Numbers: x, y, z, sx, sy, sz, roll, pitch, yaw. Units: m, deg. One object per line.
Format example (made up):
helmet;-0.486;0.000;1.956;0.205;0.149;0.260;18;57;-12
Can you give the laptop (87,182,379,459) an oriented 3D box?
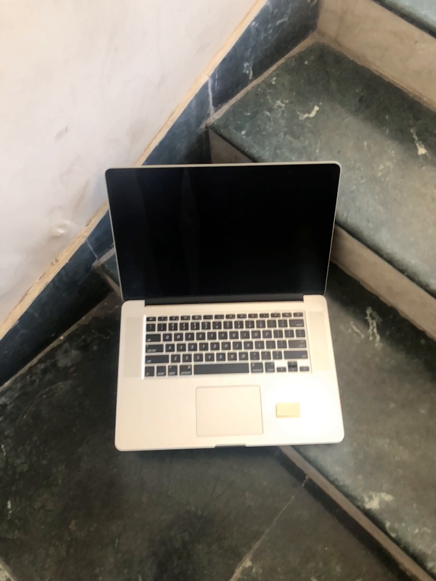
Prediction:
laptop;0.009;0.049;0.721;0.341;0.194;0.364;-2;66;-1
